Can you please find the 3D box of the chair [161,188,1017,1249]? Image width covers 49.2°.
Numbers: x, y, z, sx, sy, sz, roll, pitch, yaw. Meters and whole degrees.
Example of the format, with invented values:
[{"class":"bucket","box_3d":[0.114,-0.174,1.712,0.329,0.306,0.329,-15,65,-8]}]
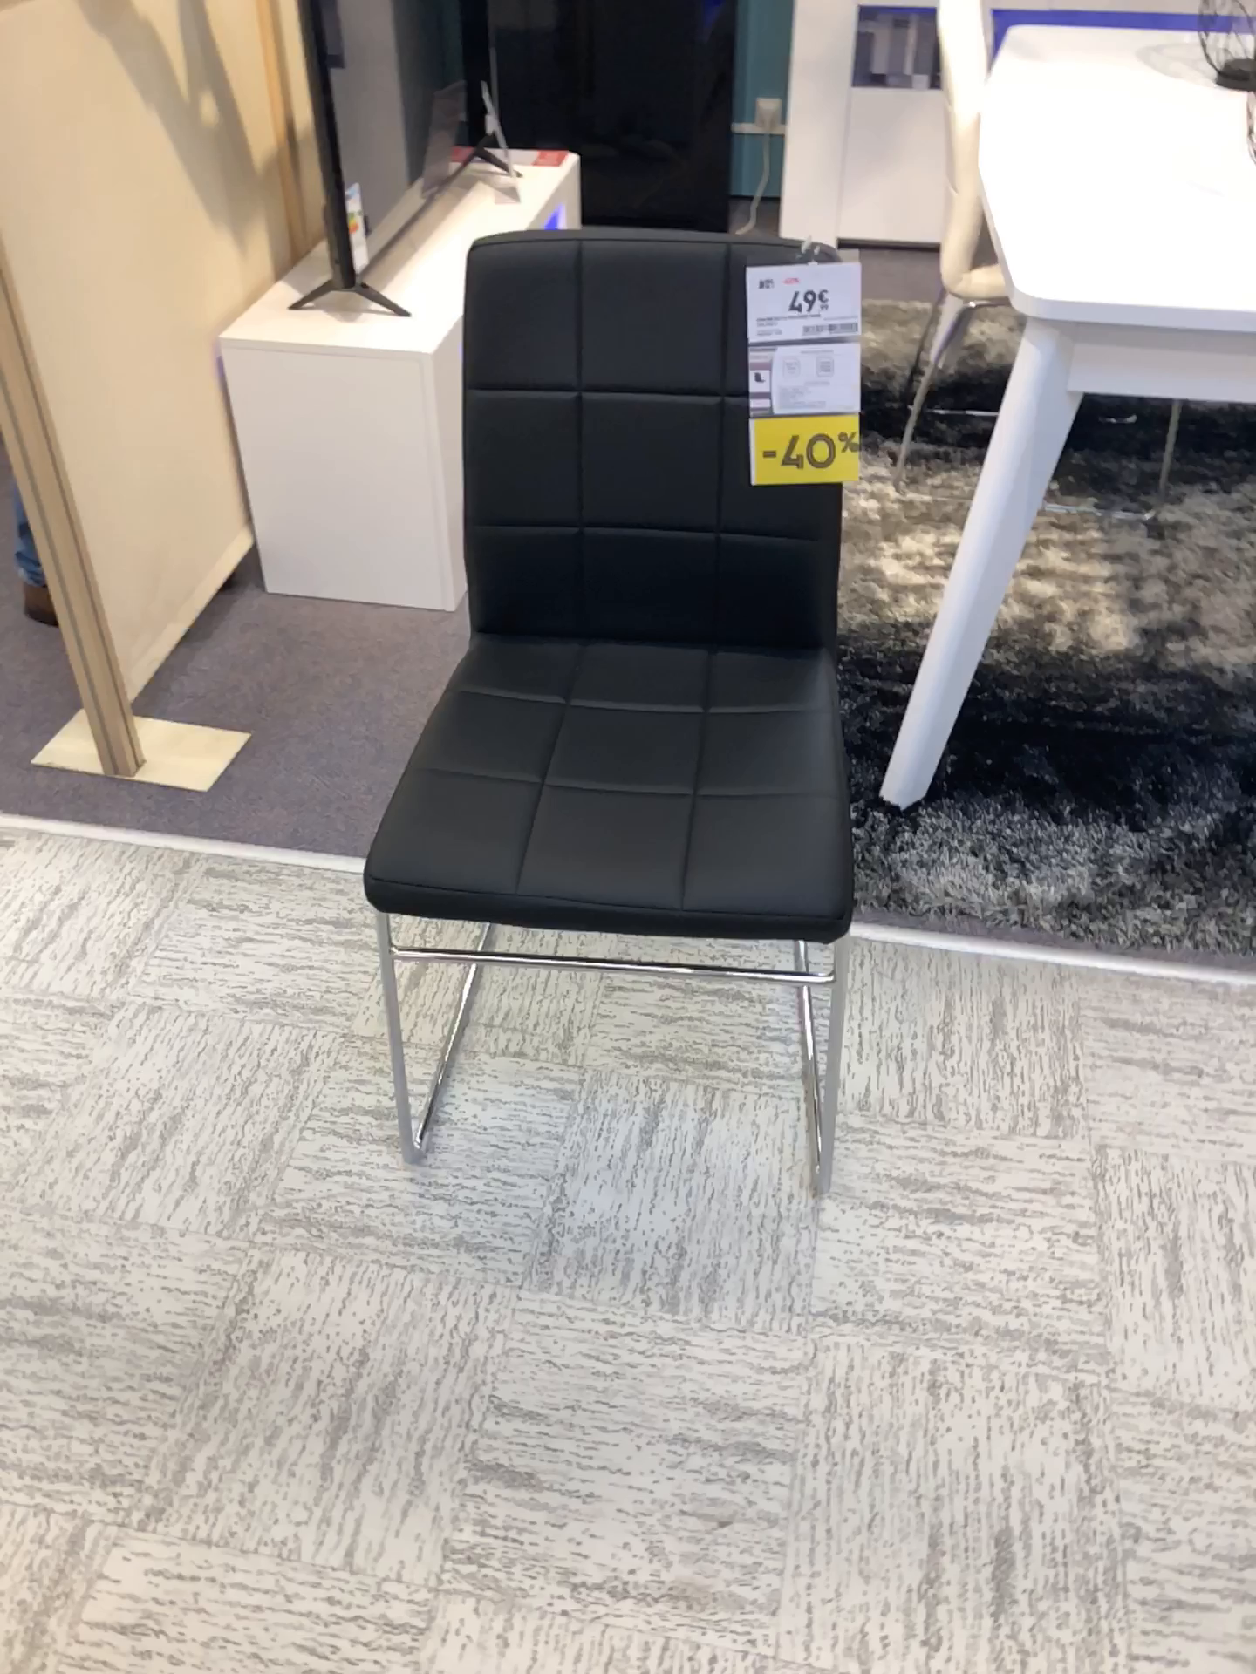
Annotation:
[{"class":"chair","box_3d":[0.011,-0.124,1.366,0.550,0.795,0.634,5,40,6]}]
